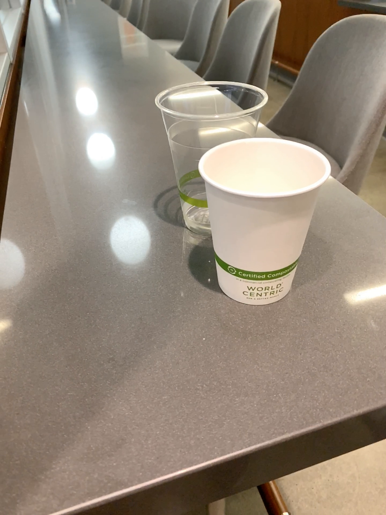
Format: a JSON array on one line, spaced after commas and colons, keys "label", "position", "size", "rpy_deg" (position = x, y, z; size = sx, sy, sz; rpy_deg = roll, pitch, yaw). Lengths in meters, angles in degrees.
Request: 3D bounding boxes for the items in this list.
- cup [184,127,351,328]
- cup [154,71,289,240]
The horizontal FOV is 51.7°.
[{"label": "cup", "position": [0.045, -0.023, 0.297], "size": [0.090, 0.109, 0.091], "rpy_deg": [-2, 38, 2]}, {"label": "cup", "position": [0.022, -0.093, 0.365], "size": [0.100, 0.119, 0.081], "rpy_deg": [-6, 38, -2]}]
